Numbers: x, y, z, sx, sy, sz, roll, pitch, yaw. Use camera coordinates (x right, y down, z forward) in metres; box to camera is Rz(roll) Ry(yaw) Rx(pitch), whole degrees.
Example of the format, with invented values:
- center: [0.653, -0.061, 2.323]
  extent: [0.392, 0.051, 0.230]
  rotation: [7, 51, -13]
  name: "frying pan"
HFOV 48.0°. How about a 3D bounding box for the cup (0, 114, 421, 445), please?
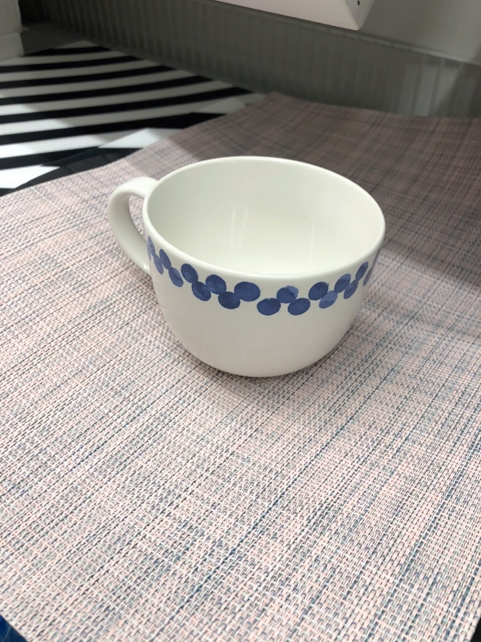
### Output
- center: [-0.015, -0.033, 0.248]
  extent: [0.150, 0.060, 0.110]
  rotation: [23, 43, 22]
  name: "cup"
